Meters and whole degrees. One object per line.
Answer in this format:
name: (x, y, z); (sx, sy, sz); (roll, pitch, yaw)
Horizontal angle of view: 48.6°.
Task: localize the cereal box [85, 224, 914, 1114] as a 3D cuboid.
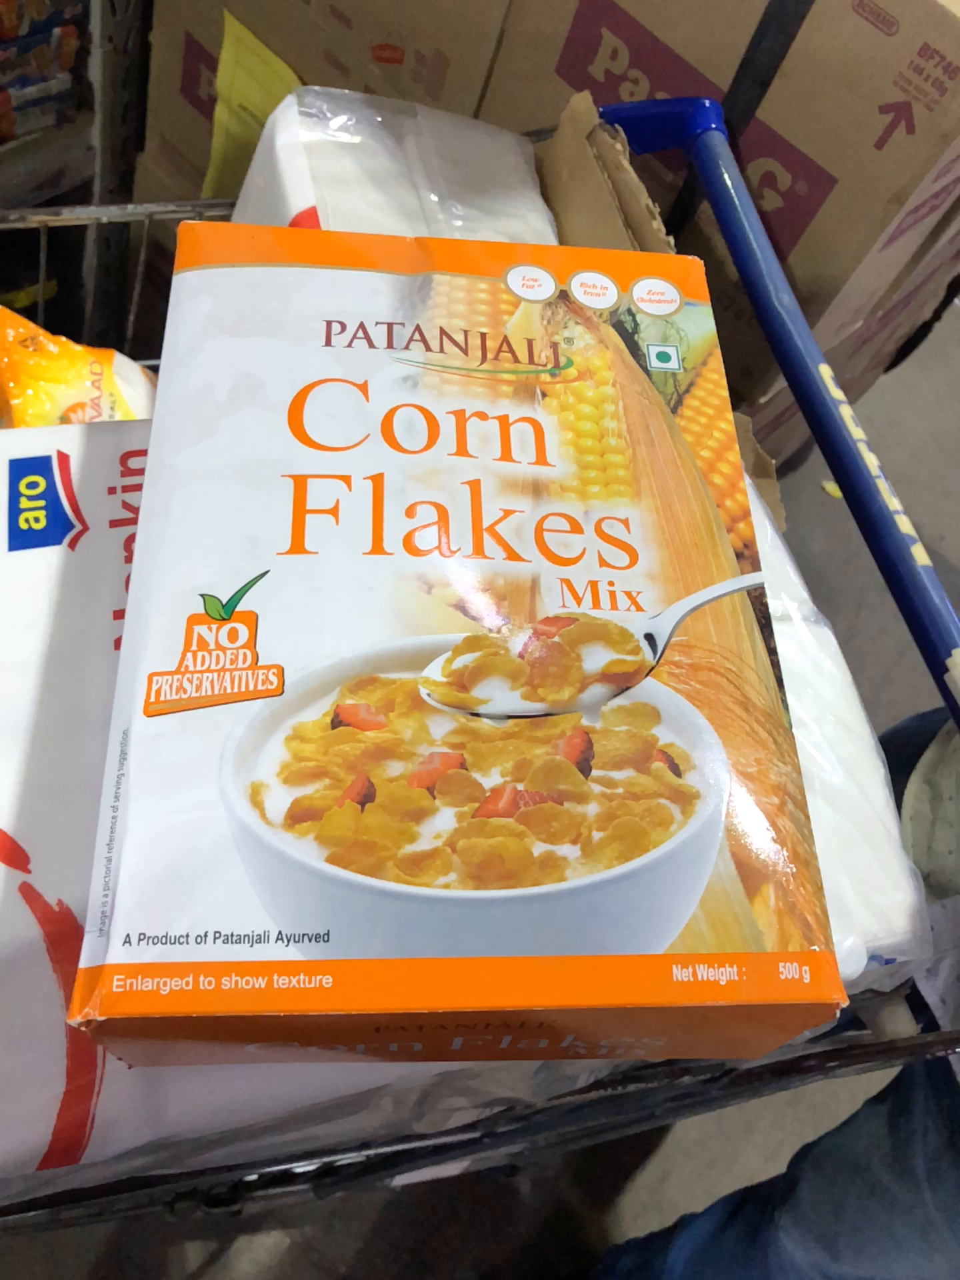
cereal box: (-0.003, 0.000, 0.349); (0.200, 0.080, 0.271); (1, 63, -9)
